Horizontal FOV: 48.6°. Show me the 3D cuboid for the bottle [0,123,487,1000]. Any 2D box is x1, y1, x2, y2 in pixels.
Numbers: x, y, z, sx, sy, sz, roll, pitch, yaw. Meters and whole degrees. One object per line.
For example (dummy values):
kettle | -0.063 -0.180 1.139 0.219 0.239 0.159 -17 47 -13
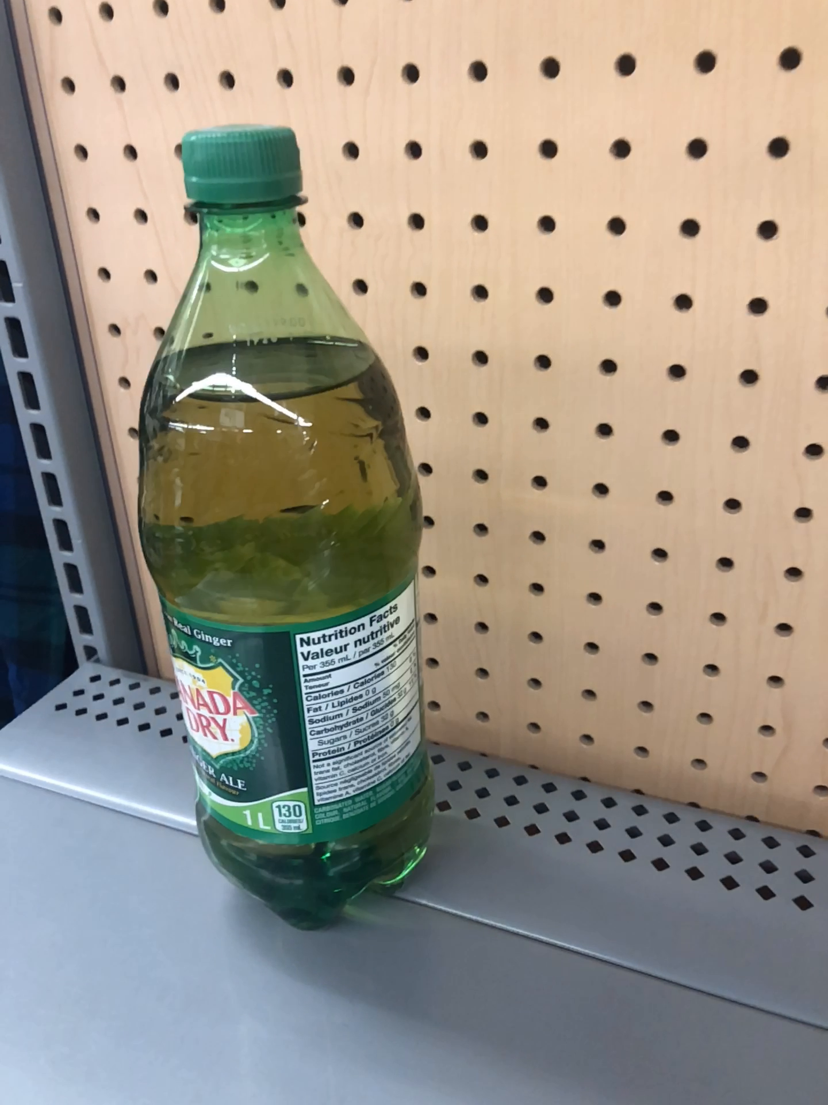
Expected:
bottle | -0.041 0.003 0.293 0.090 0.248 0.090 -2 27 1
